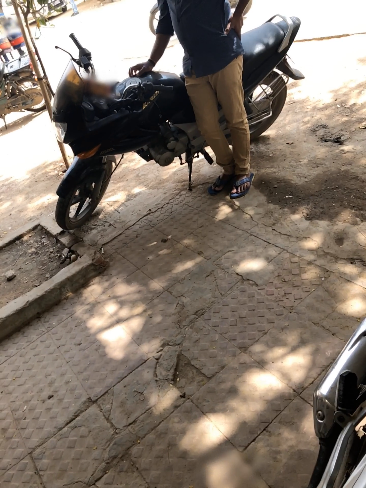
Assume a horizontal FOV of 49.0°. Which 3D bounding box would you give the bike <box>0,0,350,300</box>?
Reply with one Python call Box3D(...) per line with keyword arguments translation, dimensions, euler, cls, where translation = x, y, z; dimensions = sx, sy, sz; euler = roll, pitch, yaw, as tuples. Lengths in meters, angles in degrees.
Box3D(translation=(-0.004, -0.782, 2.391), dimensions=(1.894, 1.178, 0.799), euler=(-30, 37, -15), cls="bike")
